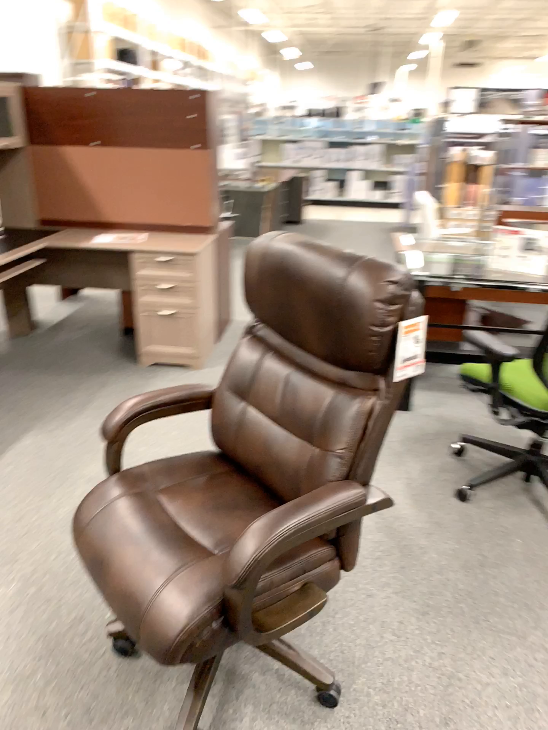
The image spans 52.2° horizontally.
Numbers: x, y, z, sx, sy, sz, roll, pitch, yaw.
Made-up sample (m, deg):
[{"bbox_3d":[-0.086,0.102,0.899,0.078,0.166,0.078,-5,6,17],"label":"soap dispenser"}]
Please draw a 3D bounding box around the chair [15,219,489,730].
[{"bbox_3d":[-0.091,0.276,1.401,0.701,1.095,0.752,-16,29,-34],"label":"chair"}]
